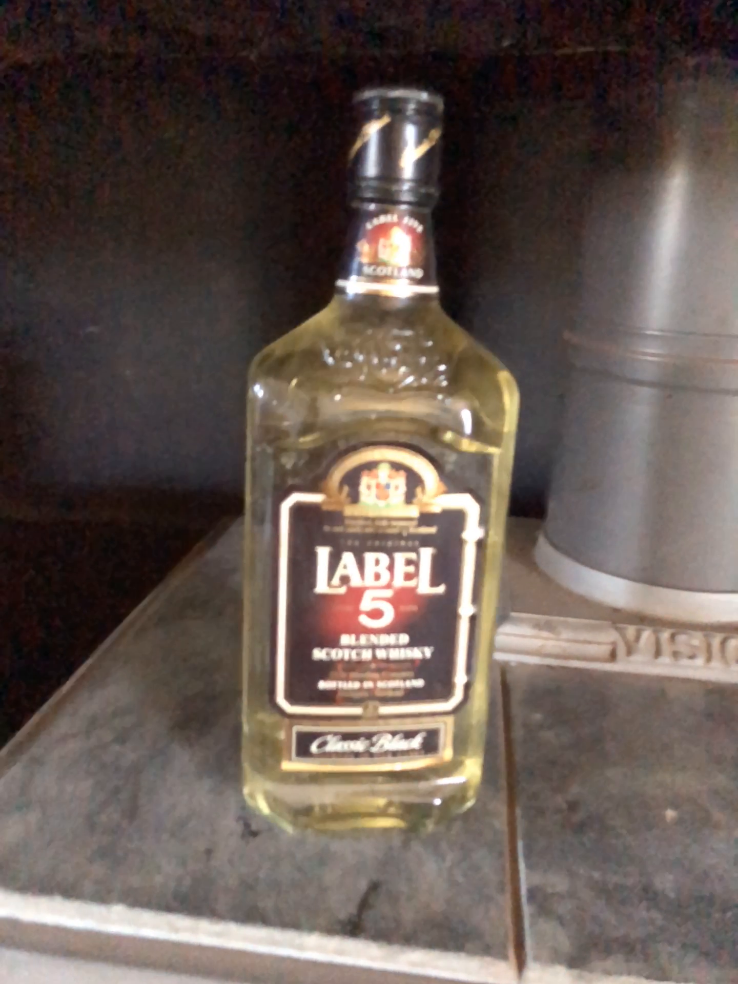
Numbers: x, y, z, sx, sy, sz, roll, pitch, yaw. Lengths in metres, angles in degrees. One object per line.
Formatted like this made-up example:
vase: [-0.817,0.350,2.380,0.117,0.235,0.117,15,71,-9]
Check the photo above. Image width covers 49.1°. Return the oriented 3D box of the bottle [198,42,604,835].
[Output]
bottle: [0.004,-0.008,0.281,0.110,0.249,0.060,1,16,-4]
